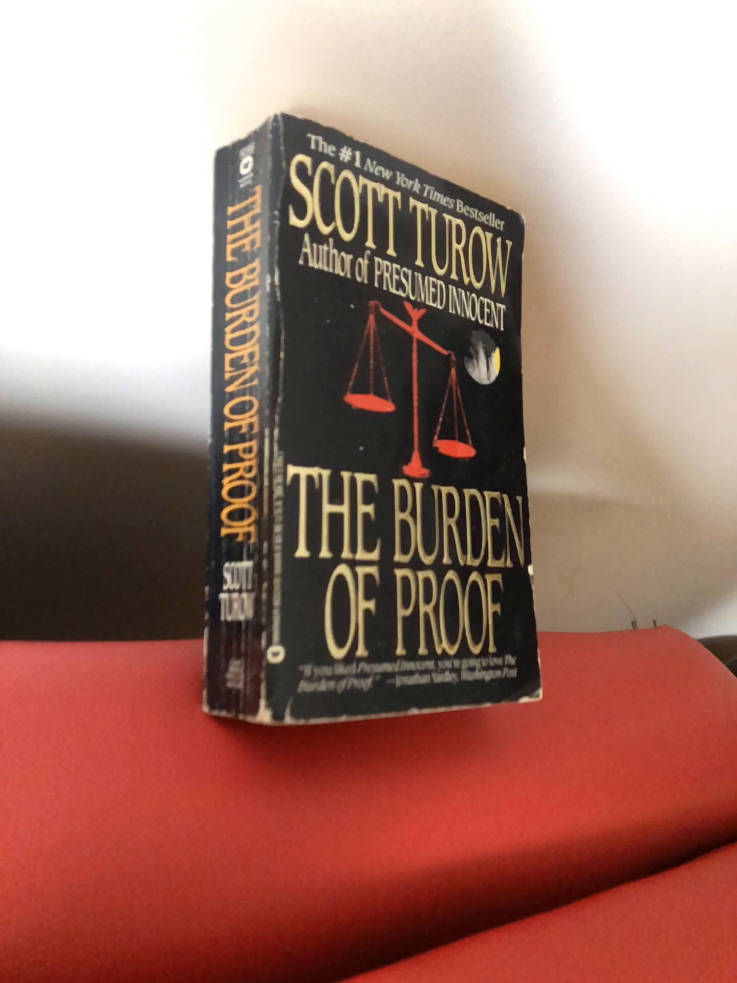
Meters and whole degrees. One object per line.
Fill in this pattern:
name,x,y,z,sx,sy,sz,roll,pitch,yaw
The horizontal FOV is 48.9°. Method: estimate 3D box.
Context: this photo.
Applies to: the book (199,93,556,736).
book,0.006,-0.018,0.261,0.106,0.045,0.171,7,79,-40
